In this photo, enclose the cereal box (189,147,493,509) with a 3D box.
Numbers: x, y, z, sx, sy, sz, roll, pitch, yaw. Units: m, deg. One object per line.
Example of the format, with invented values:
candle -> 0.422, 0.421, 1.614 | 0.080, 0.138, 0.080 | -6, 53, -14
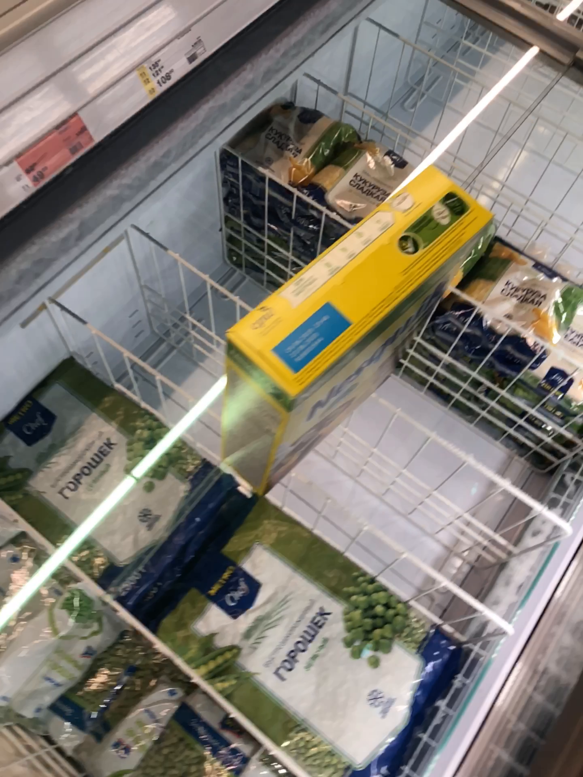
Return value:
cereal box -> 0.024, -0.024, 0.522 | 0.200, 0.279, 0.070 | -42, 77, -19
